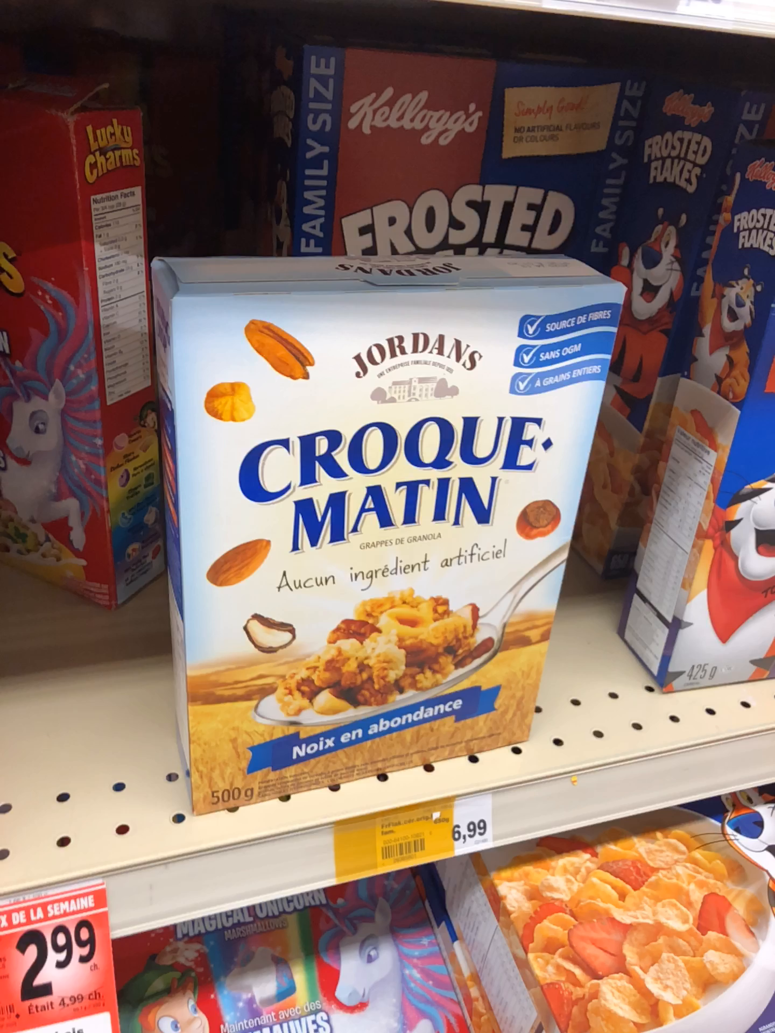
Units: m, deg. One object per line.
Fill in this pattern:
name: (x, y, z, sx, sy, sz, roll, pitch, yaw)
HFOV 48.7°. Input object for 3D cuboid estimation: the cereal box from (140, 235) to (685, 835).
cereal box: (0.003, 0.012, 0.385, 0.200, 0.258, 0.050, -7, 33, -21)
